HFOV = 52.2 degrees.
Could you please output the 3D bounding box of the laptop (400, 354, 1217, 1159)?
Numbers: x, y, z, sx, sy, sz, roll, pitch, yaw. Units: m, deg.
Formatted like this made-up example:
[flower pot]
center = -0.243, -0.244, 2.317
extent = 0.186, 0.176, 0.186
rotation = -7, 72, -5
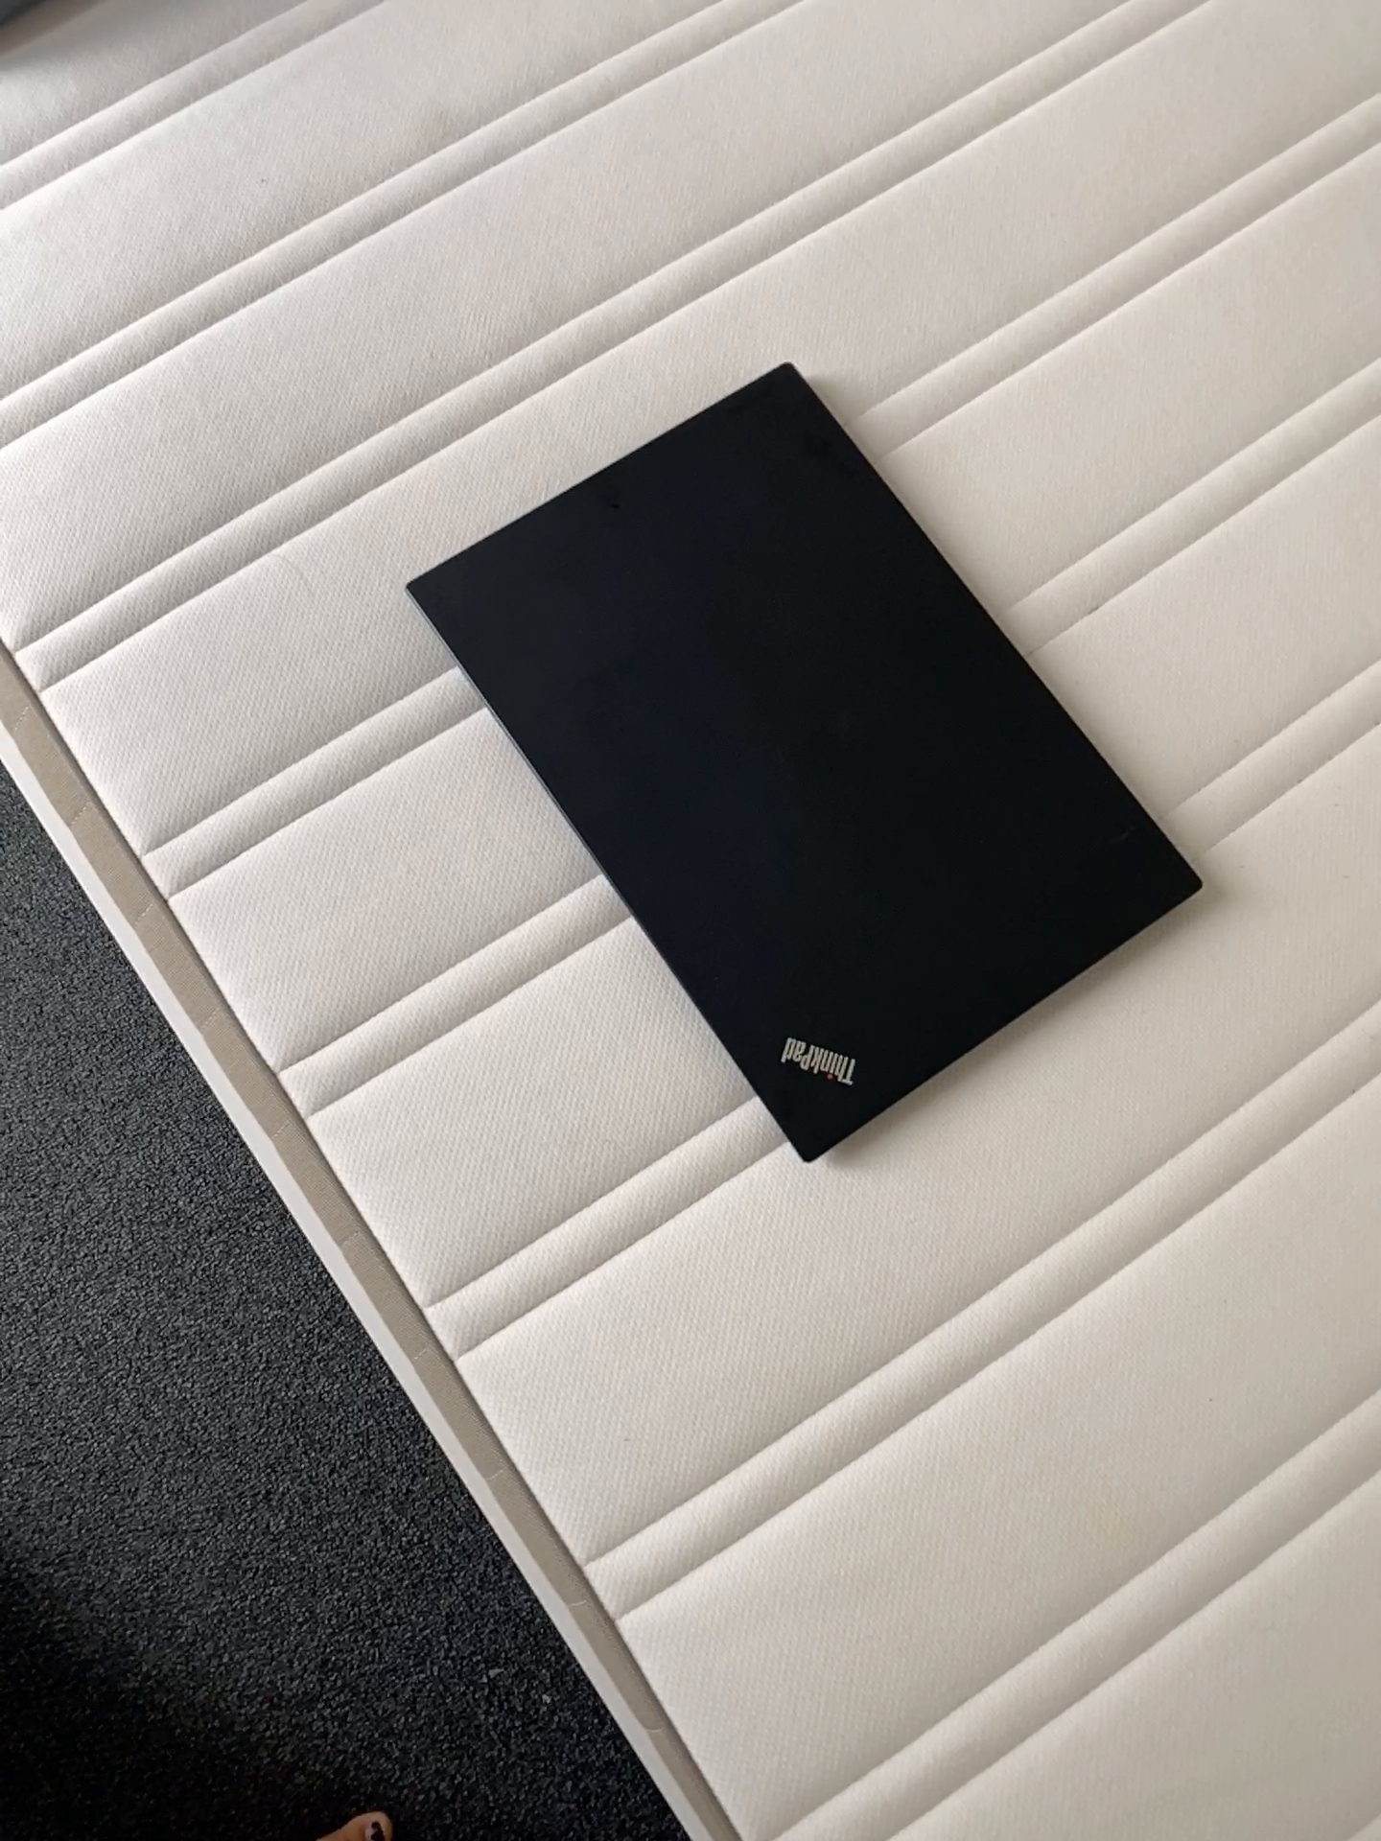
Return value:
[laptop]
center = 0.052, -0.089, 0.648
extent = 0.225, 0.012, 0.325
rotation = -33, 79, -13
